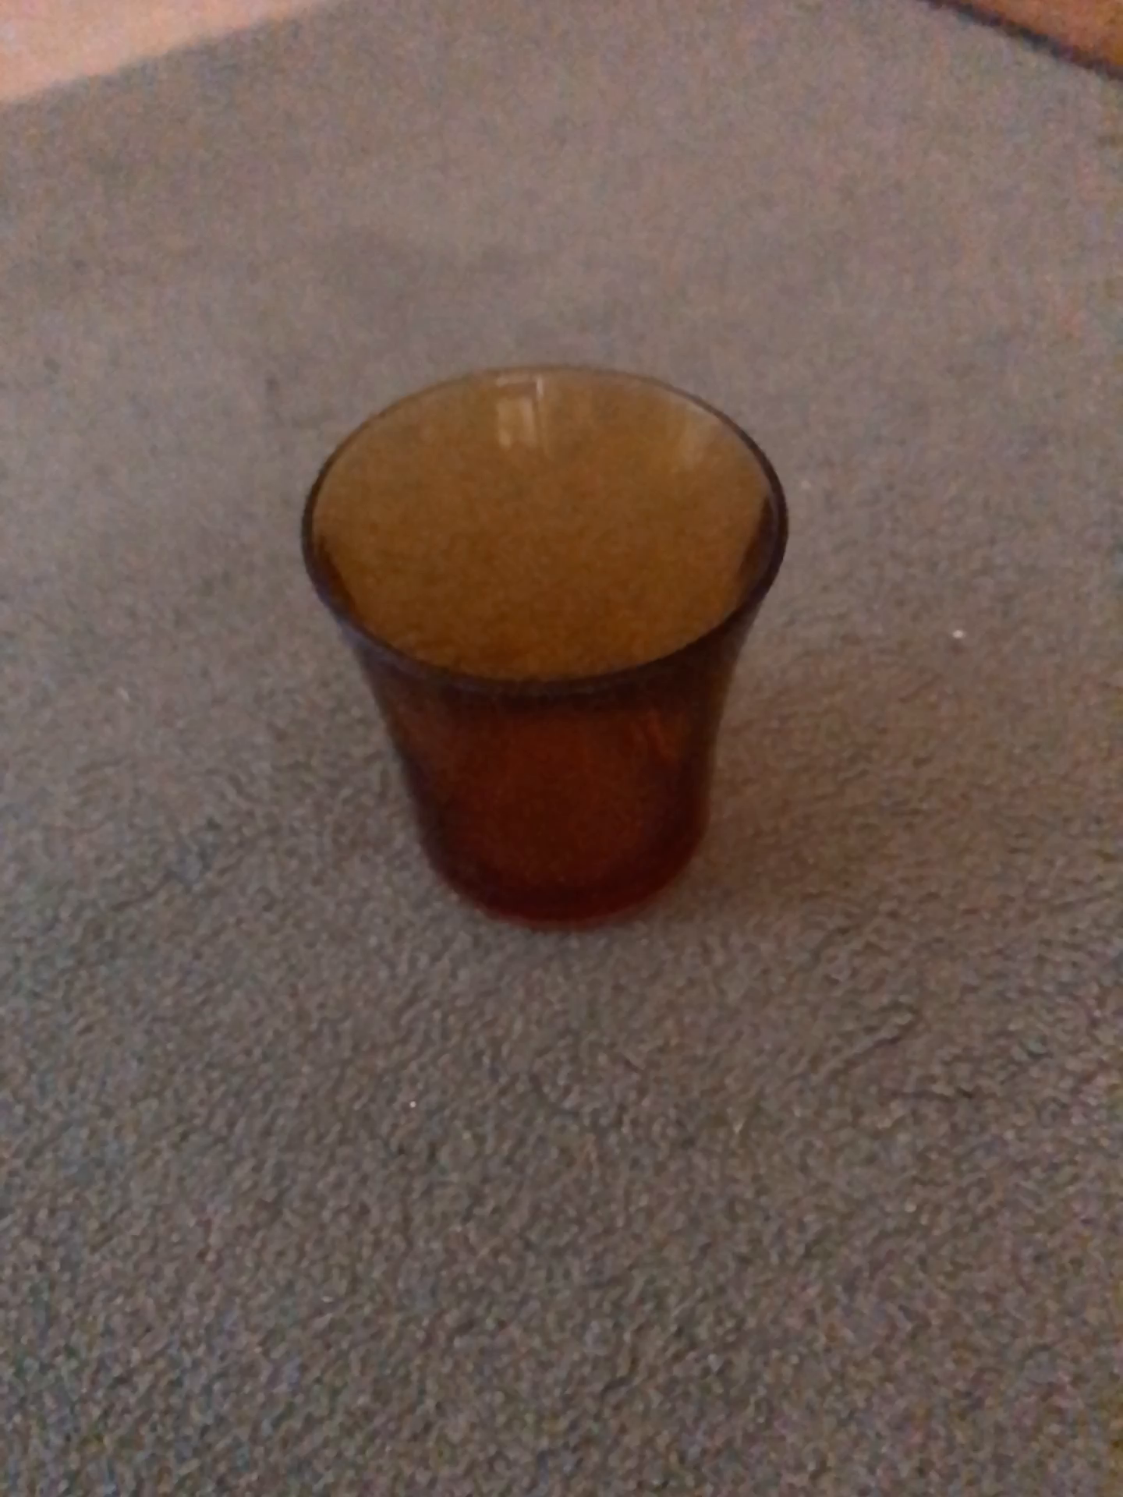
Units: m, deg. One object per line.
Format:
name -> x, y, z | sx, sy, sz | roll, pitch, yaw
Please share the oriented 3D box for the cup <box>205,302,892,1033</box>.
cup -> -0.001, -0.015, 0.208 | 0.070, 0.070, 0.070 | -2, 50, 2
